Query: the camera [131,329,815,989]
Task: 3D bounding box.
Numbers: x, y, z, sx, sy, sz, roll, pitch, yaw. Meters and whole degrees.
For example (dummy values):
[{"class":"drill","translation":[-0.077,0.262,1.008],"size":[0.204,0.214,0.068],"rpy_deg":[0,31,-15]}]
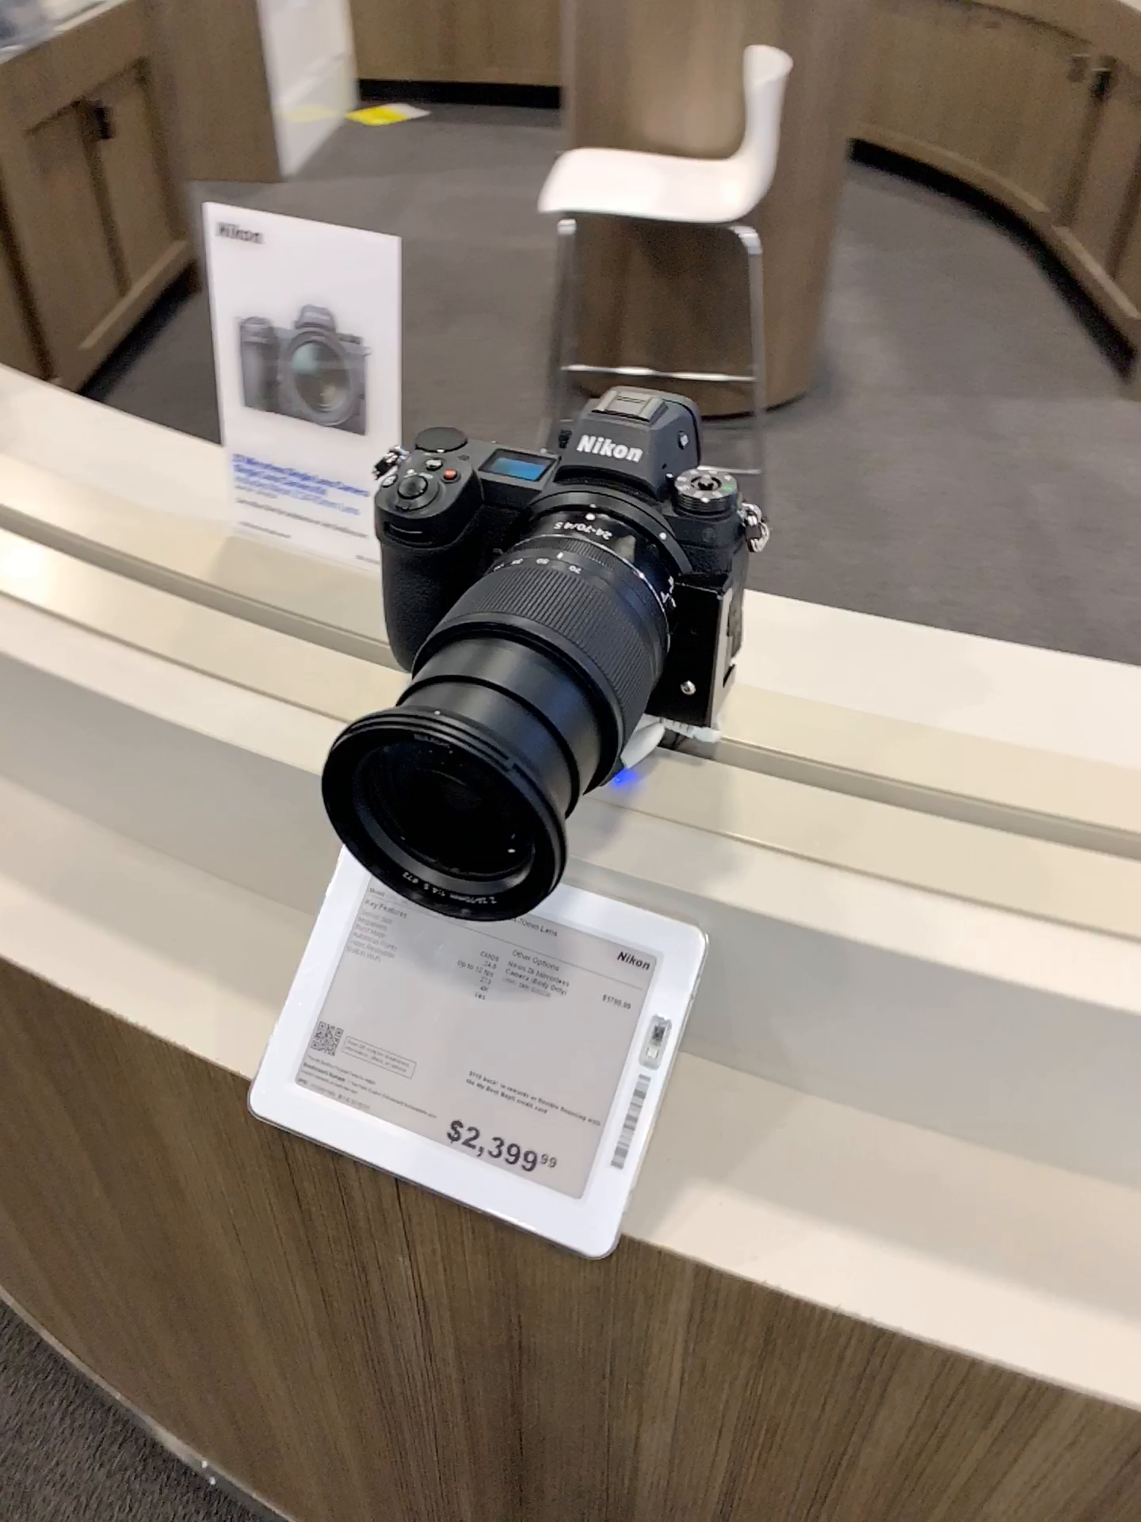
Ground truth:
[{"class":"camera","translation":[-0.015,-0.053,0.404],"size":[0.140,0.099,0.211],"rpy_deg":[15,43,16]}]
